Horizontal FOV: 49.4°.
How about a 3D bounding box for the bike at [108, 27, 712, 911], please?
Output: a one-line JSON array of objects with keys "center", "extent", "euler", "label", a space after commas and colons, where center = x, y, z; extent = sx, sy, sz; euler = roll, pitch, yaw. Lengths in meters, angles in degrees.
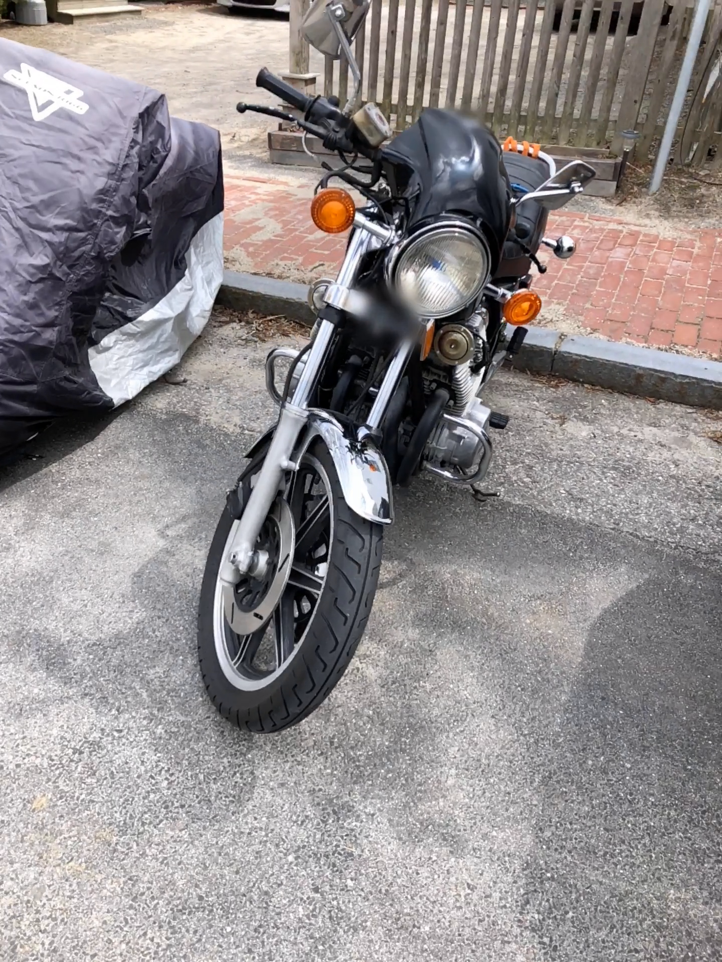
[{"center": [0.263, -0.331, 1.975], "extent": [0.709, 1.158, 1.980], "euler": [12, 37, 12], "label": "bike"}]
